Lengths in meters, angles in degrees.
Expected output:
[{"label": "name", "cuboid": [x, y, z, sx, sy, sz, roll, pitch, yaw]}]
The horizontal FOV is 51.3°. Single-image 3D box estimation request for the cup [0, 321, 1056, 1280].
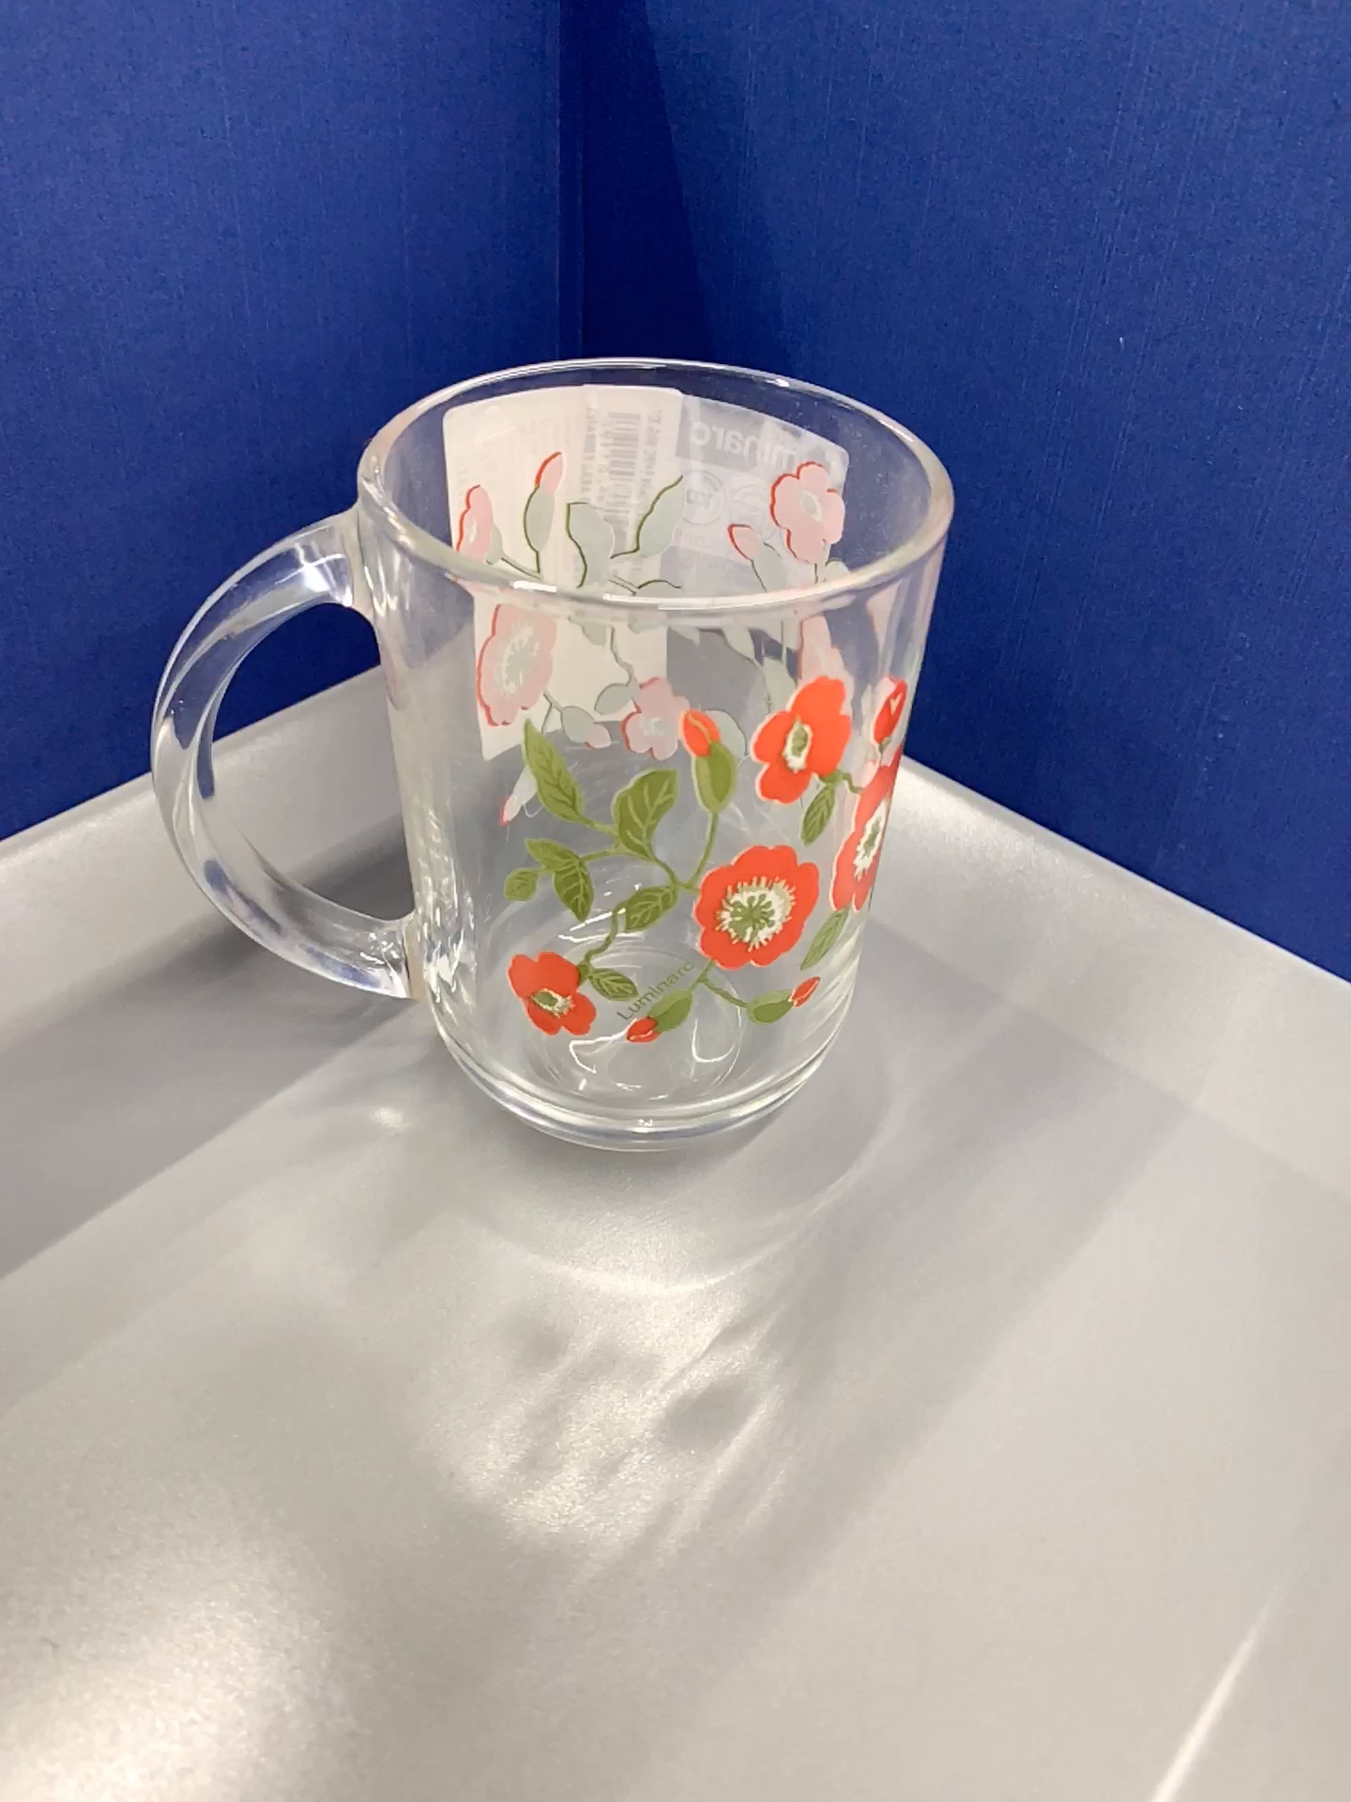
[{"label": "cup", "cuboid": [-0.026, -0.019, 0.210, 0.114, 0.104, 0.088, -5, 39, -11]}]
